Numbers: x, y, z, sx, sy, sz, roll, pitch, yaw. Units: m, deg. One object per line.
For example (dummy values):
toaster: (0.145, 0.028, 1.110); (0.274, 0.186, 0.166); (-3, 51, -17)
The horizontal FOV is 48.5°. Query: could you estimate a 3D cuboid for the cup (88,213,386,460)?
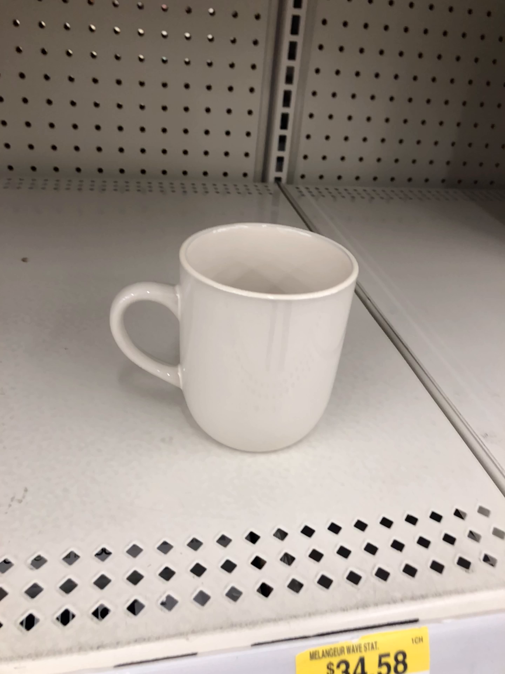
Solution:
cup: (-0.011, -0.002, 0.287); (0.121, 0.090, 0.087); (2, 30, -6)
